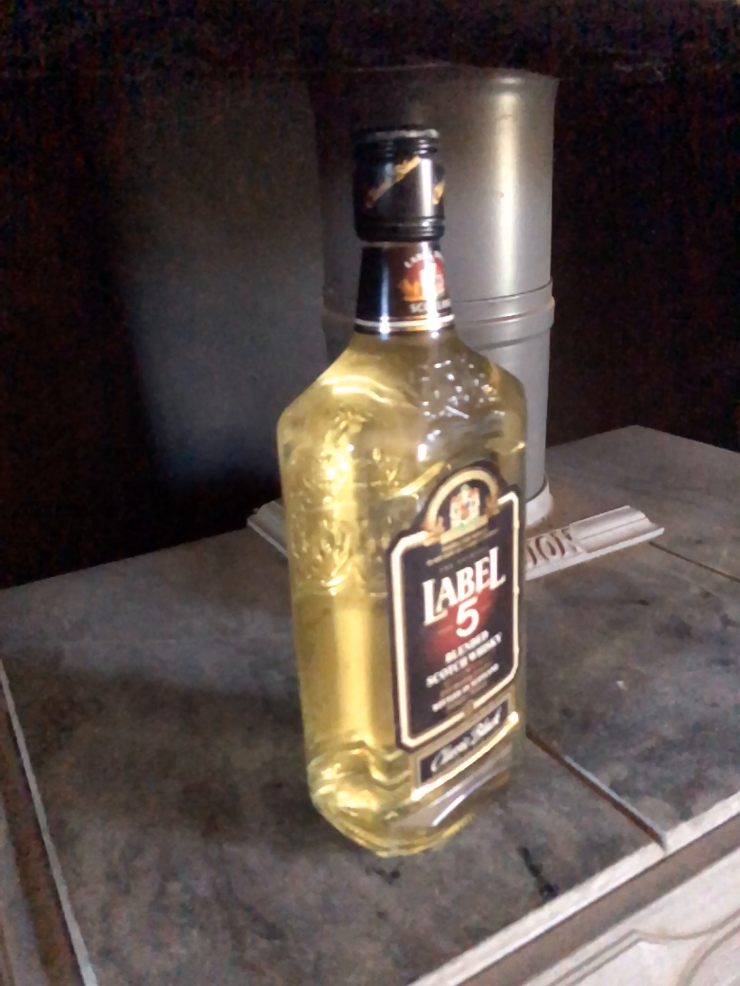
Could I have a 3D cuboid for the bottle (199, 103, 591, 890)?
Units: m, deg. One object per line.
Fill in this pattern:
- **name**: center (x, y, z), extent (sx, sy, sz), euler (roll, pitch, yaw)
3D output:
- **bottle**: center (0.019, -0.001, 0.294), extent (0.111, 0.249, 0.060), euler (-21, 26, -37)
